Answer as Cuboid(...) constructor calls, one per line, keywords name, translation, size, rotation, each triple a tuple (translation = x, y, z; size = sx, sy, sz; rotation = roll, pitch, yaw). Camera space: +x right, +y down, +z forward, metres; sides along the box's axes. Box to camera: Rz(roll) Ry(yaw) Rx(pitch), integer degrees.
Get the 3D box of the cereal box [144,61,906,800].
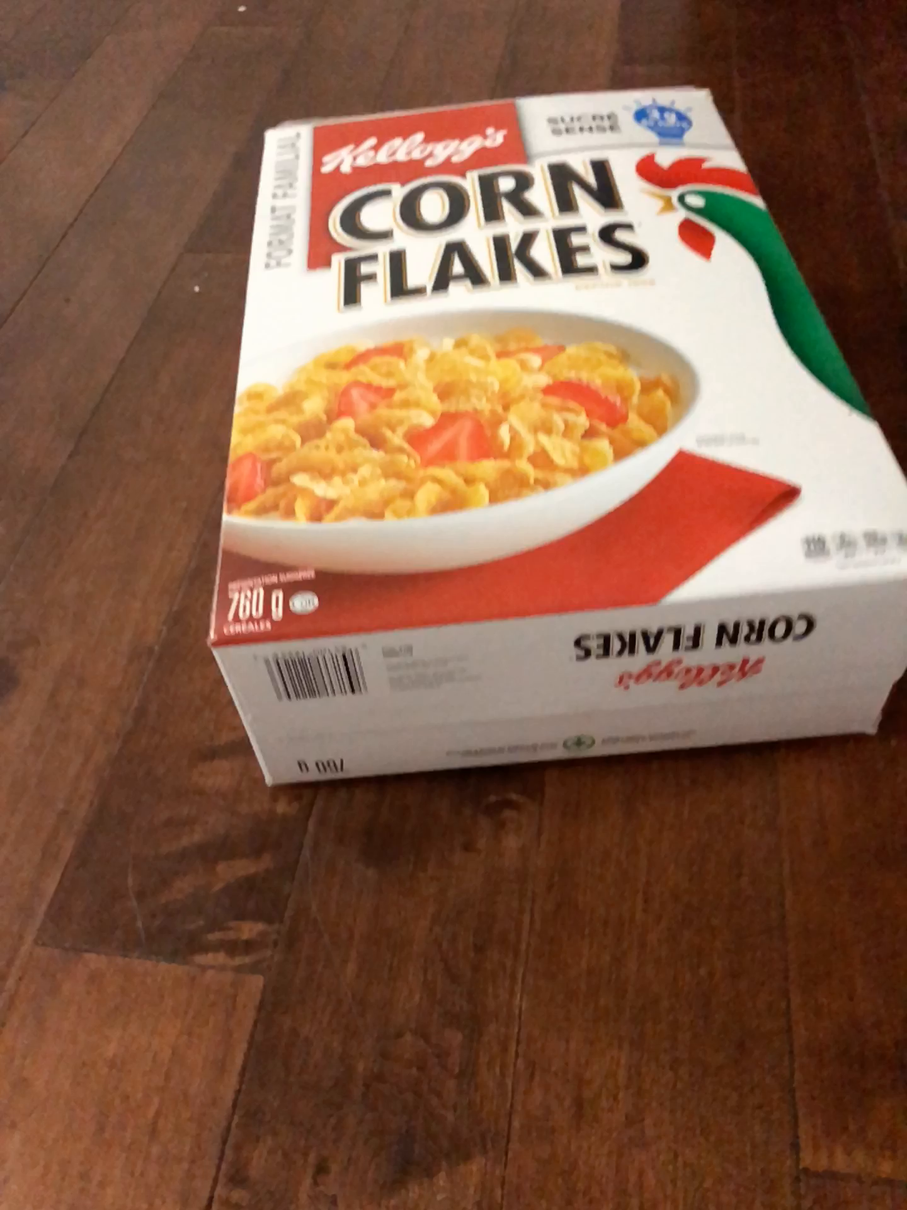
Cuboid(name="cereal box", translation=(0.022, -0.112, 0.477), size=(0.260, 0.090, 0.381), rotation=(-5, 52, 1))
